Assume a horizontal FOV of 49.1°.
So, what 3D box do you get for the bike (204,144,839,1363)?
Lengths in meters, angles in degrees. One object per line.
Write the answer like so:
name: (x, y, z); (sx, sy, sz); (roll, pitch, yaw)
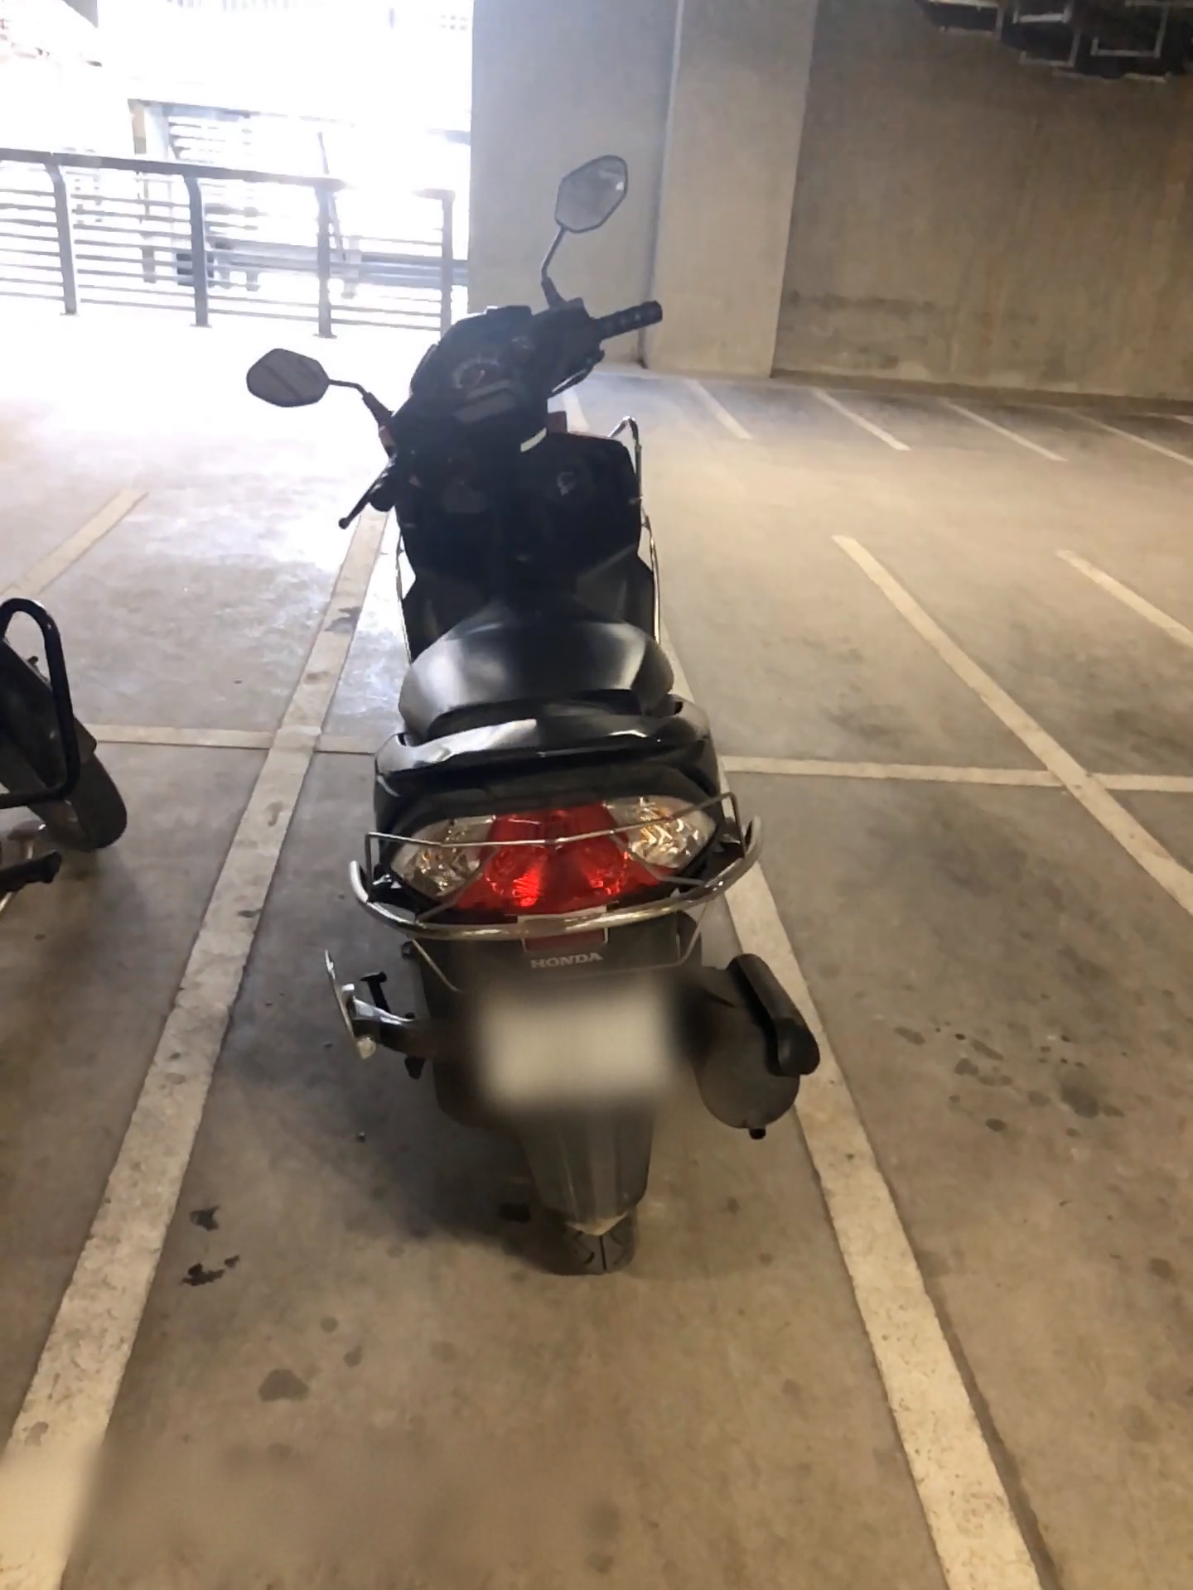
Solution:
bike: (-0.227, -0.339, 2.262); (0.582, 1.188, 1.961); (1, 29, -9)
